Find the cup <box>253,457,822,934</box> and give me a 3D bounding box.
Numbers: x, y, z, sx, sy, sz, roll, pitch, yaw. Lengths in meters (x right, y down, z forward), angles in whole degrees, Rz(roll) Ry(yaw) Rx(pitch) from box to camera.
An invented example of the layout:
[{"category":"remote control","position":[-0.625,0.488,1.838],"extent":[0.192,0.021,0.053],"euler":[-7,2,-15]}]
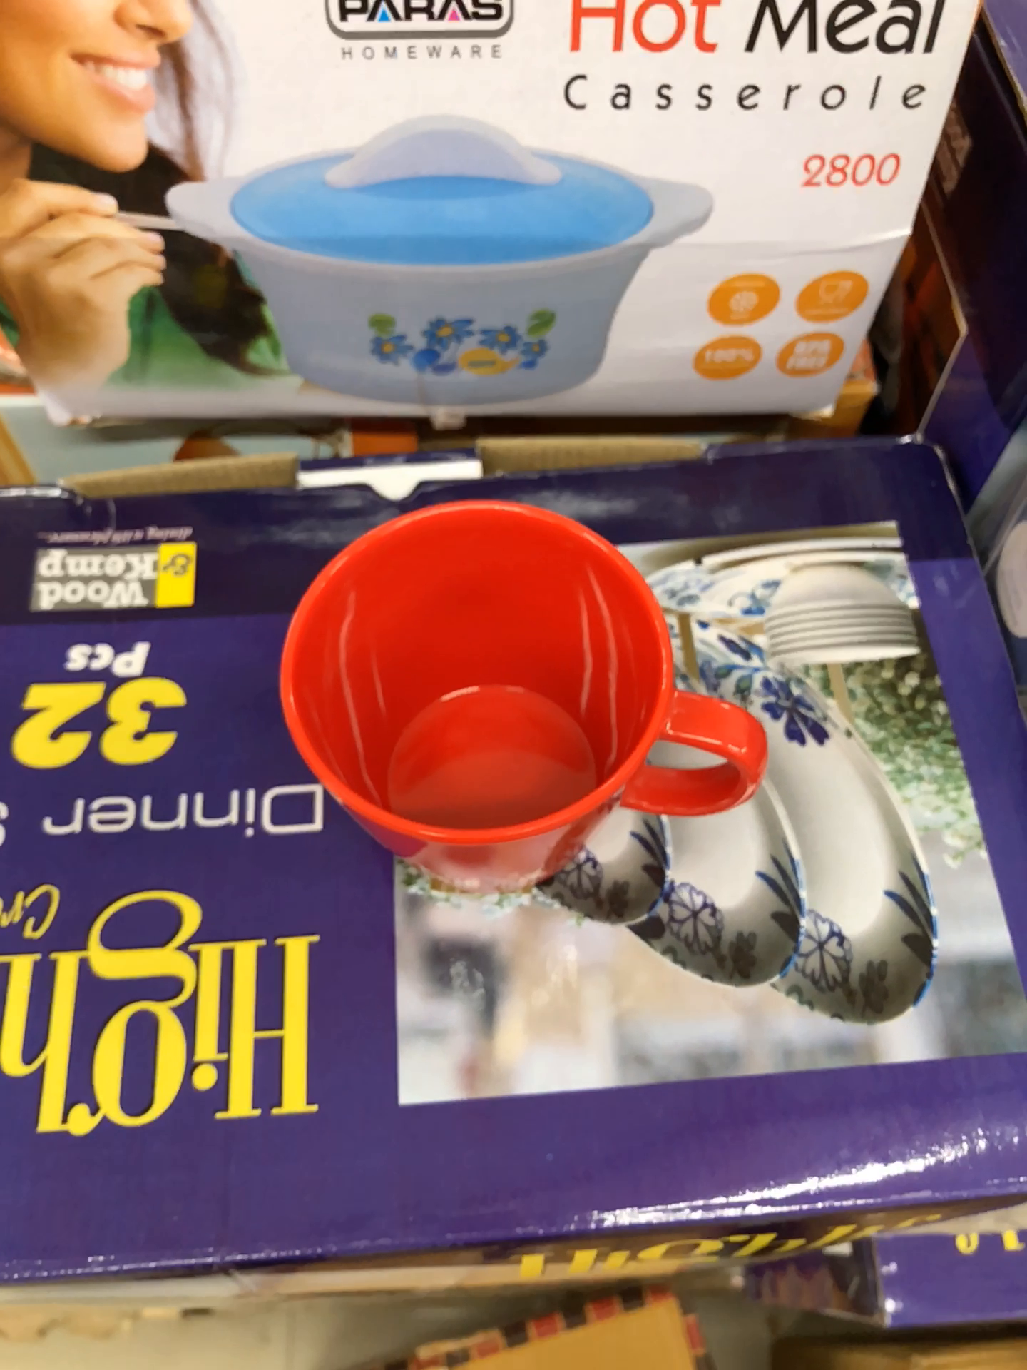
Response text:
[{"category":"cup","position":[0.001,0.002,0.243],"extent":[0.100,0.050,0.080],"euler":[-4,61,-3]}]
